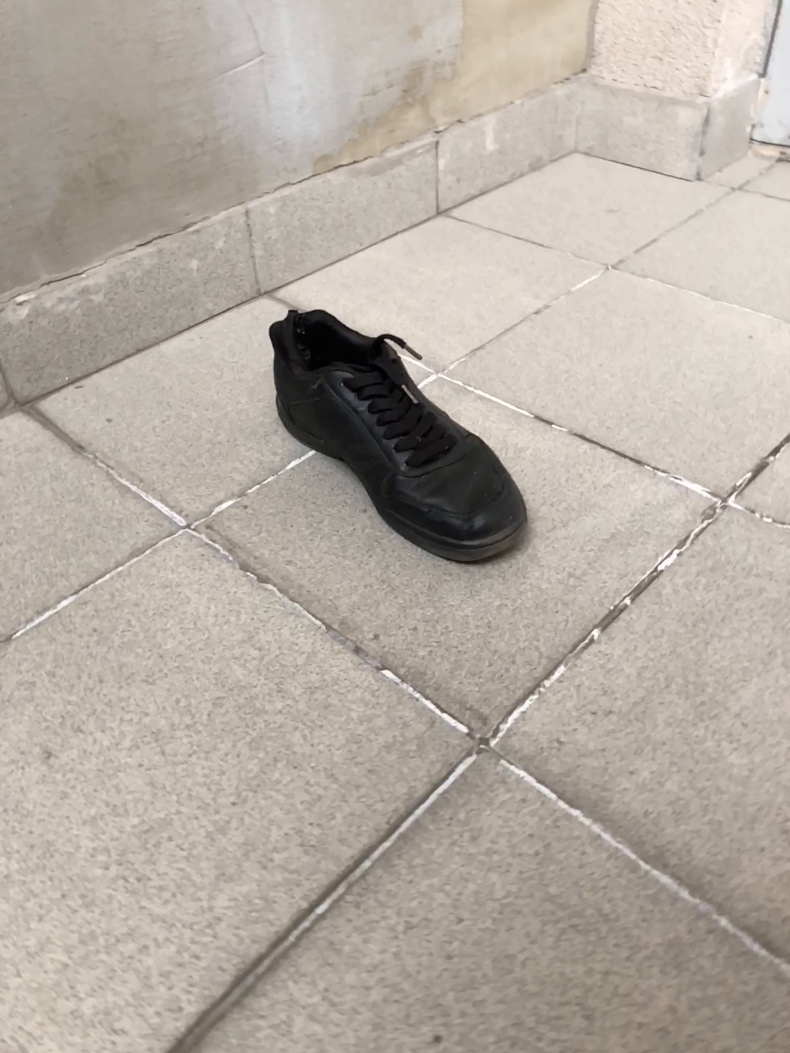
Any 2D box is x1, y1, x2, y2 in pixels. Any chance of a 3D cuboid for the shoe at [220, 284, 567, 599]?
[{"bbox_3d":[-0.013,-0.083,0.689,0.110,0.099,0.291,-27,46,-27],"label":"shoe"}]
